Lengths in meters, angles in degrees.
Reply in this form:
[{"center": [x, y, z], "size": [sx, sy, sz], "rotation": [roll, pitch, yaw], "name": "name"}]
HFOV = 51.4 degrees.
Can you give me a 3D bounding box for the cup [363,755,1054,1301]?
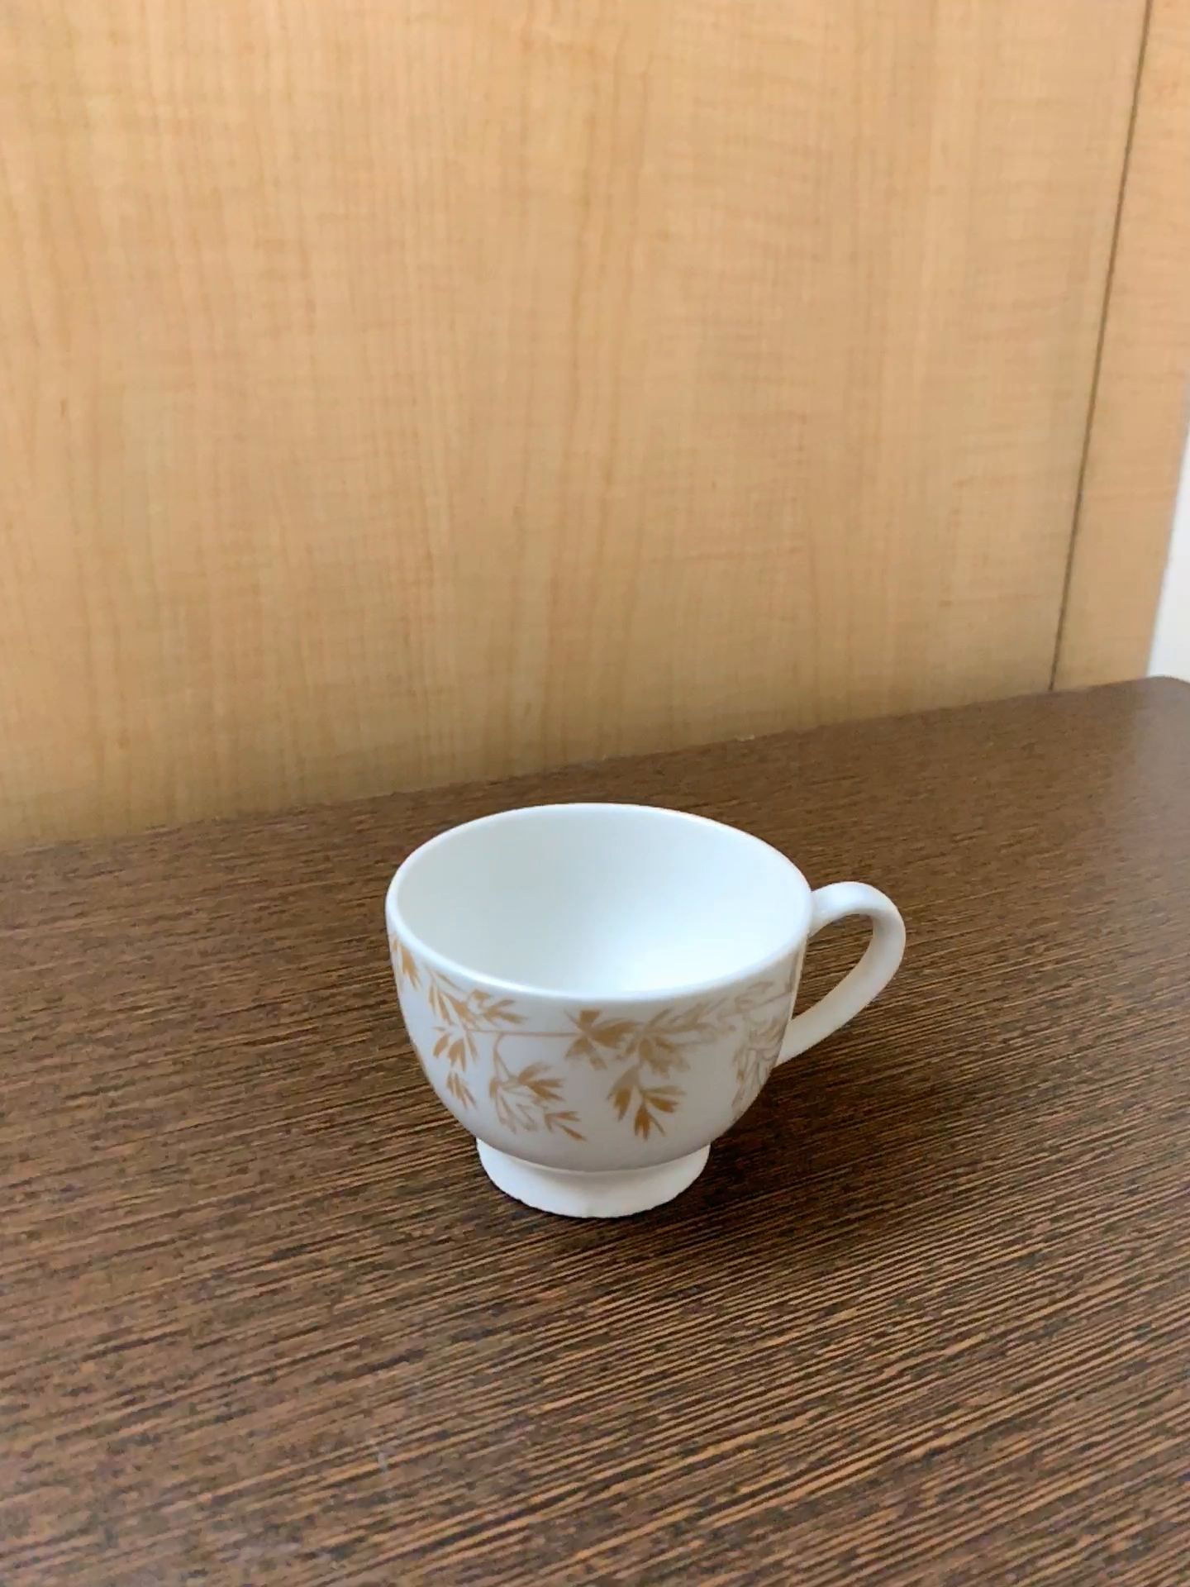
[{"center": [0.014, 0.035, 0.231], "size": [0.100, 0.050, 0.081], "rotation": [-7, 23, -18], "name": "cup"}]
